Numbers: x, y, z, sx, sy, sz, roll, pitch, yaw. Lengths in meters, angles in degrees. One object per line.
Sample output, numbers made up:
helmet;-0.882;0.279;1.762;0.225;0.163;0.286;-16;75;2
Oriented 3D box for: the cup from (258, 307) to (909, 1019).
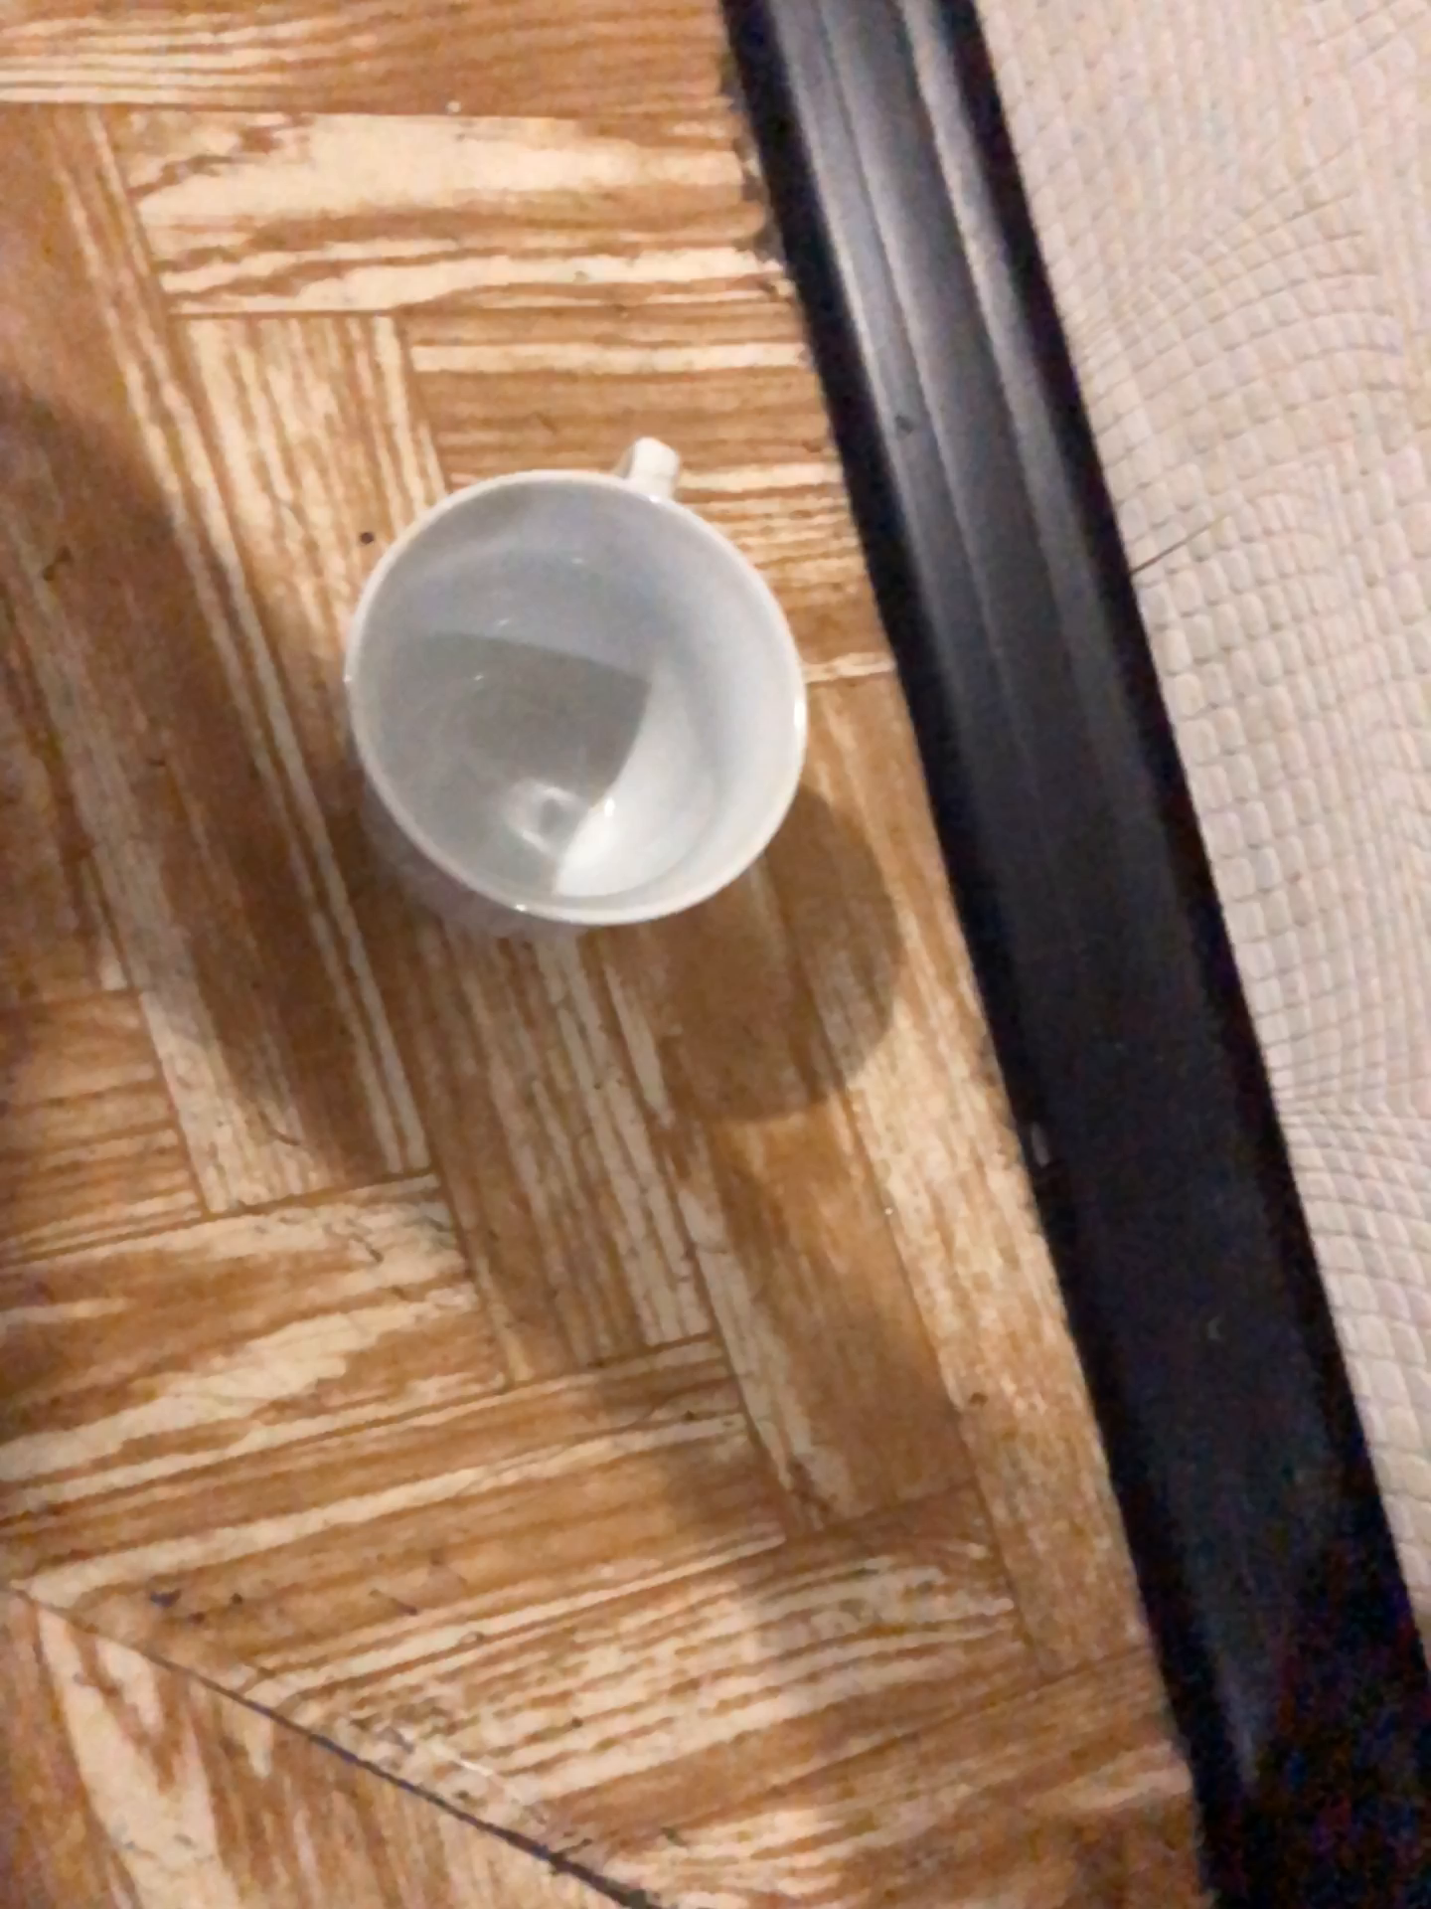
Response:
cup;-0.027;-0.047;0.300;0.094;0.069;0.097;2;82;-19
